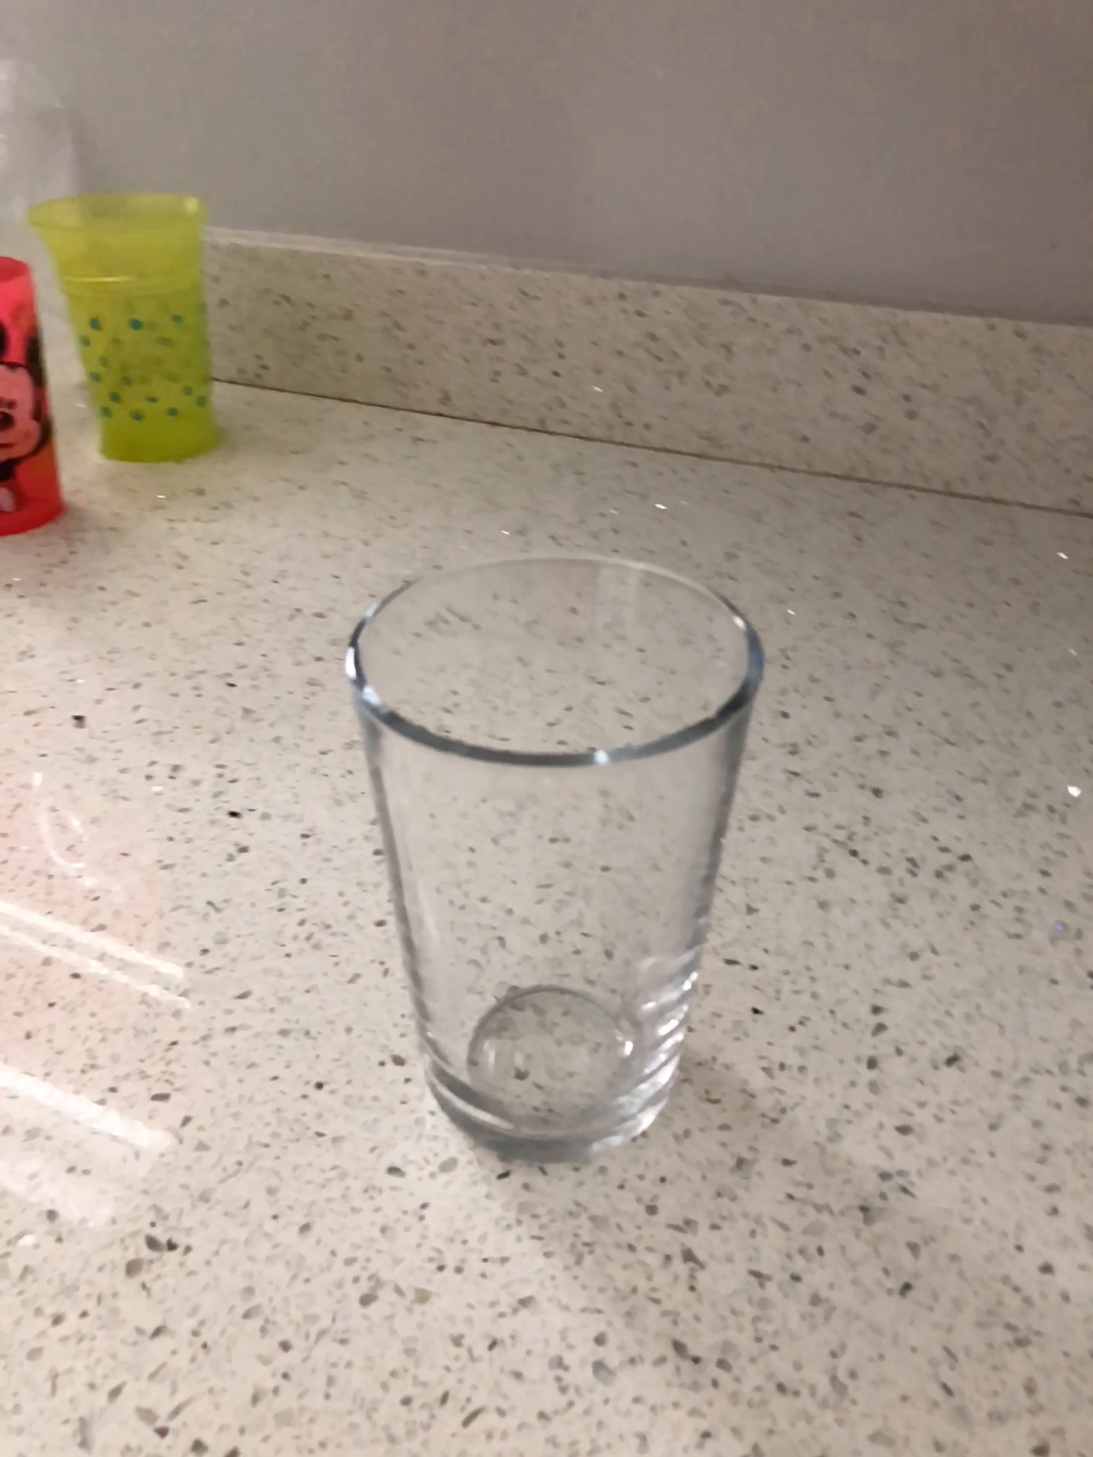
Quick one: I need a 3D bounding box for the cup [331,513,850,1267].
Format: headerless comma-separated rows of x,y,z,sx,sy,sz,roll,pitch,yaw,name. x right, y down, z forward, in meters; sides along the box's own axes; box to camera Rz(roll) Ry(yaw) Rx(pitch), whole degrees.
0.001,0.030,0.234,0.074,0.114,0.080,0,34,0,cup
